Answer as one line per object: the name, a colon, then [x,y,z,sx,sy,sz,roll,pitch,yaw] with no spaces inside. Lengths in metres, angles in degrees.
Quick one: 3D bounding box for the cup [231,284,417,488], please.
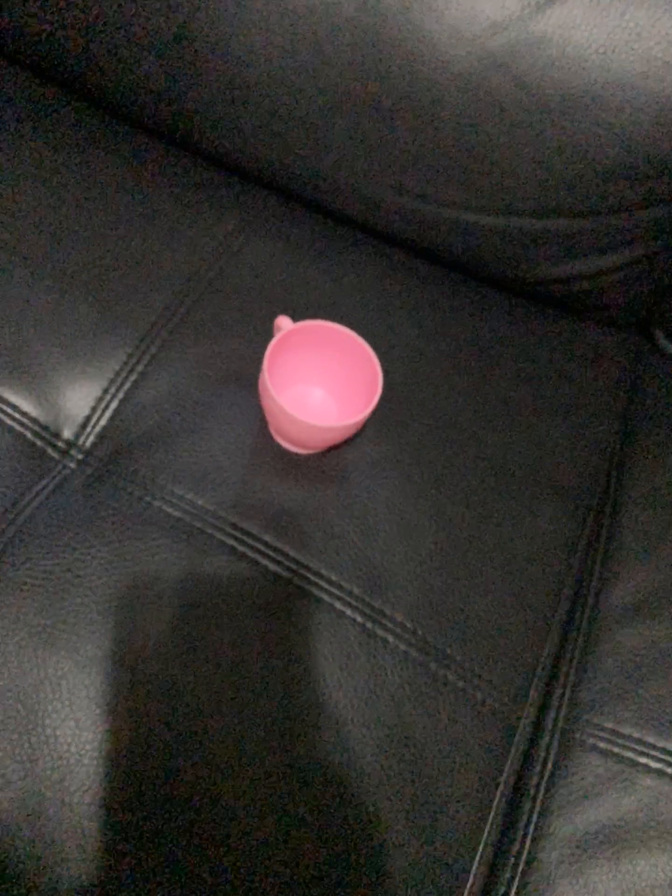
cup: [-0.009,-0.032,0.354,0.061,0.045,0.078,-19,68,-21]
